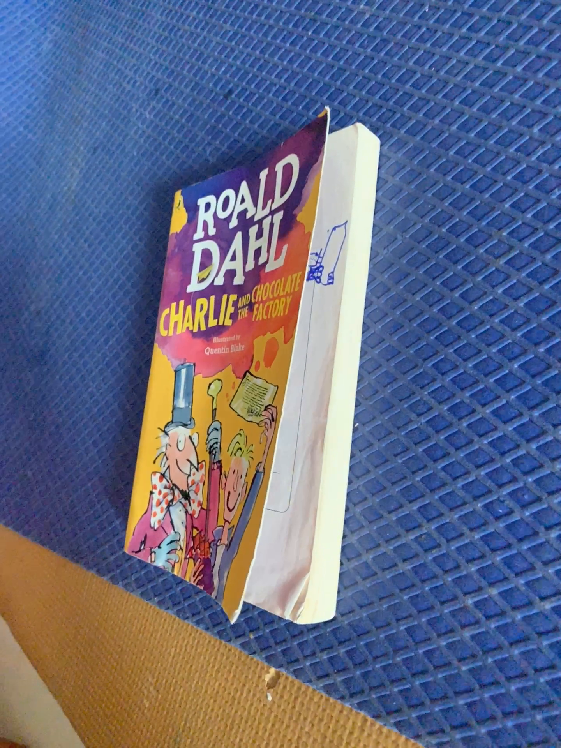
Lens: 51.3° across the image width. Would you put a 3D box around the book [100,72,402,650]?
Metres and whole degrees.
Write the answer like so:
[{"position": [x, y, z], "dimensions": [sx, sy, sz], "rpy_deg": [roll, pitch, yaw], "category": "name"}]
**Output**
[{"position": [-0.021, -0.010, 0.264], "dimensions": [0.141, 0.020, 0.210], "rpy_deg": [-1, 79, 45], "category": "book"}]
